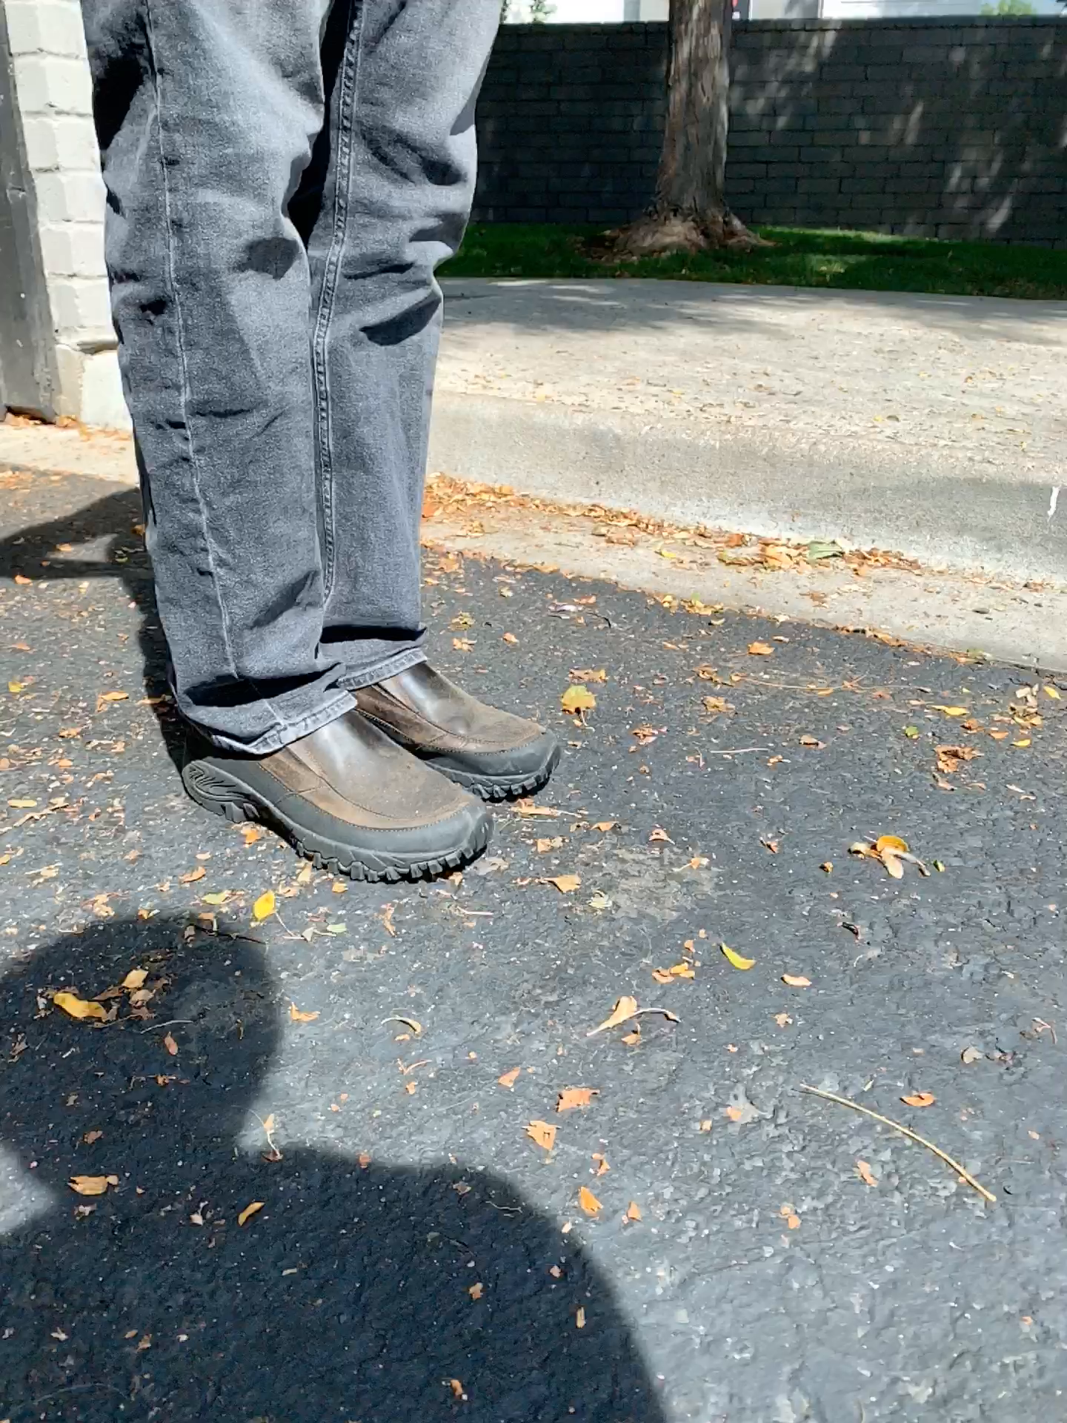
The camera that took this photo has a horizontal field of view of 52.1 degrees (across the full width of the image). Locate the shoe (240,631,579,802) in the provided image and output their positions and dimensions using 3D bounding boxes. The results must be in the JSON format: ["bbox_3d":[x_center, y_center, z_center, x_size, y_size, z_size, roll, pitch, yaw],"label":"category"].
[{"bbox_3d":[-0.115,-0.003,0.997,0.291,0.070,0.110,12,25,24],"label":"shoe"}]

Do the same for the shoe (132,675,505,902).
[{"bbox_3d":[-0.176,0.052,0.883,0.291,0.070,0.110,16,27,27],"label":"shoe"}]
